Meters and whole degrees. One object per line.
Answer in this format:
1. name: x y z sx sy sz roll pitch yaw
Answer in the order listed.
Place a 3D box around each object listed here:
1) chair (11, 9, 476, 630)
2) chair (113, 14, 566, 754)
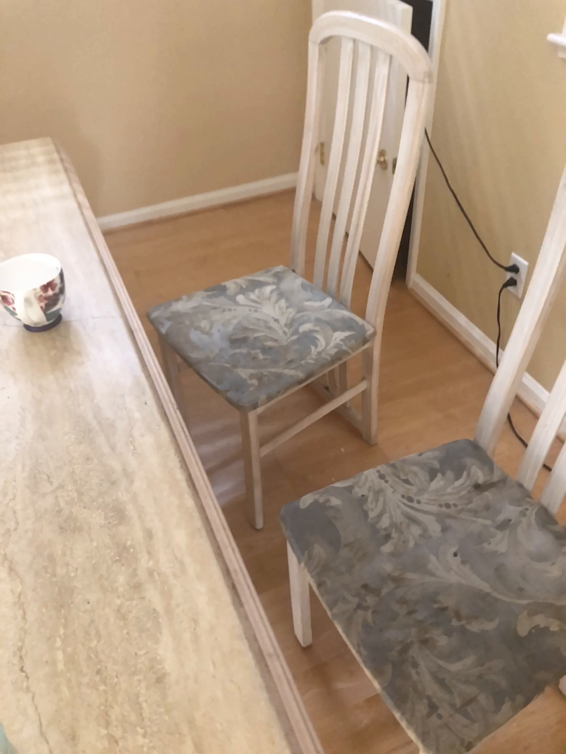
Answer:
1. chair: -0.043 -0.064 1.359 0.562 1.140 0.482 -27 47 -23
2. chair: 0.214 0.192 0.920 0.562 1.140 0.482 -22 45 -21
